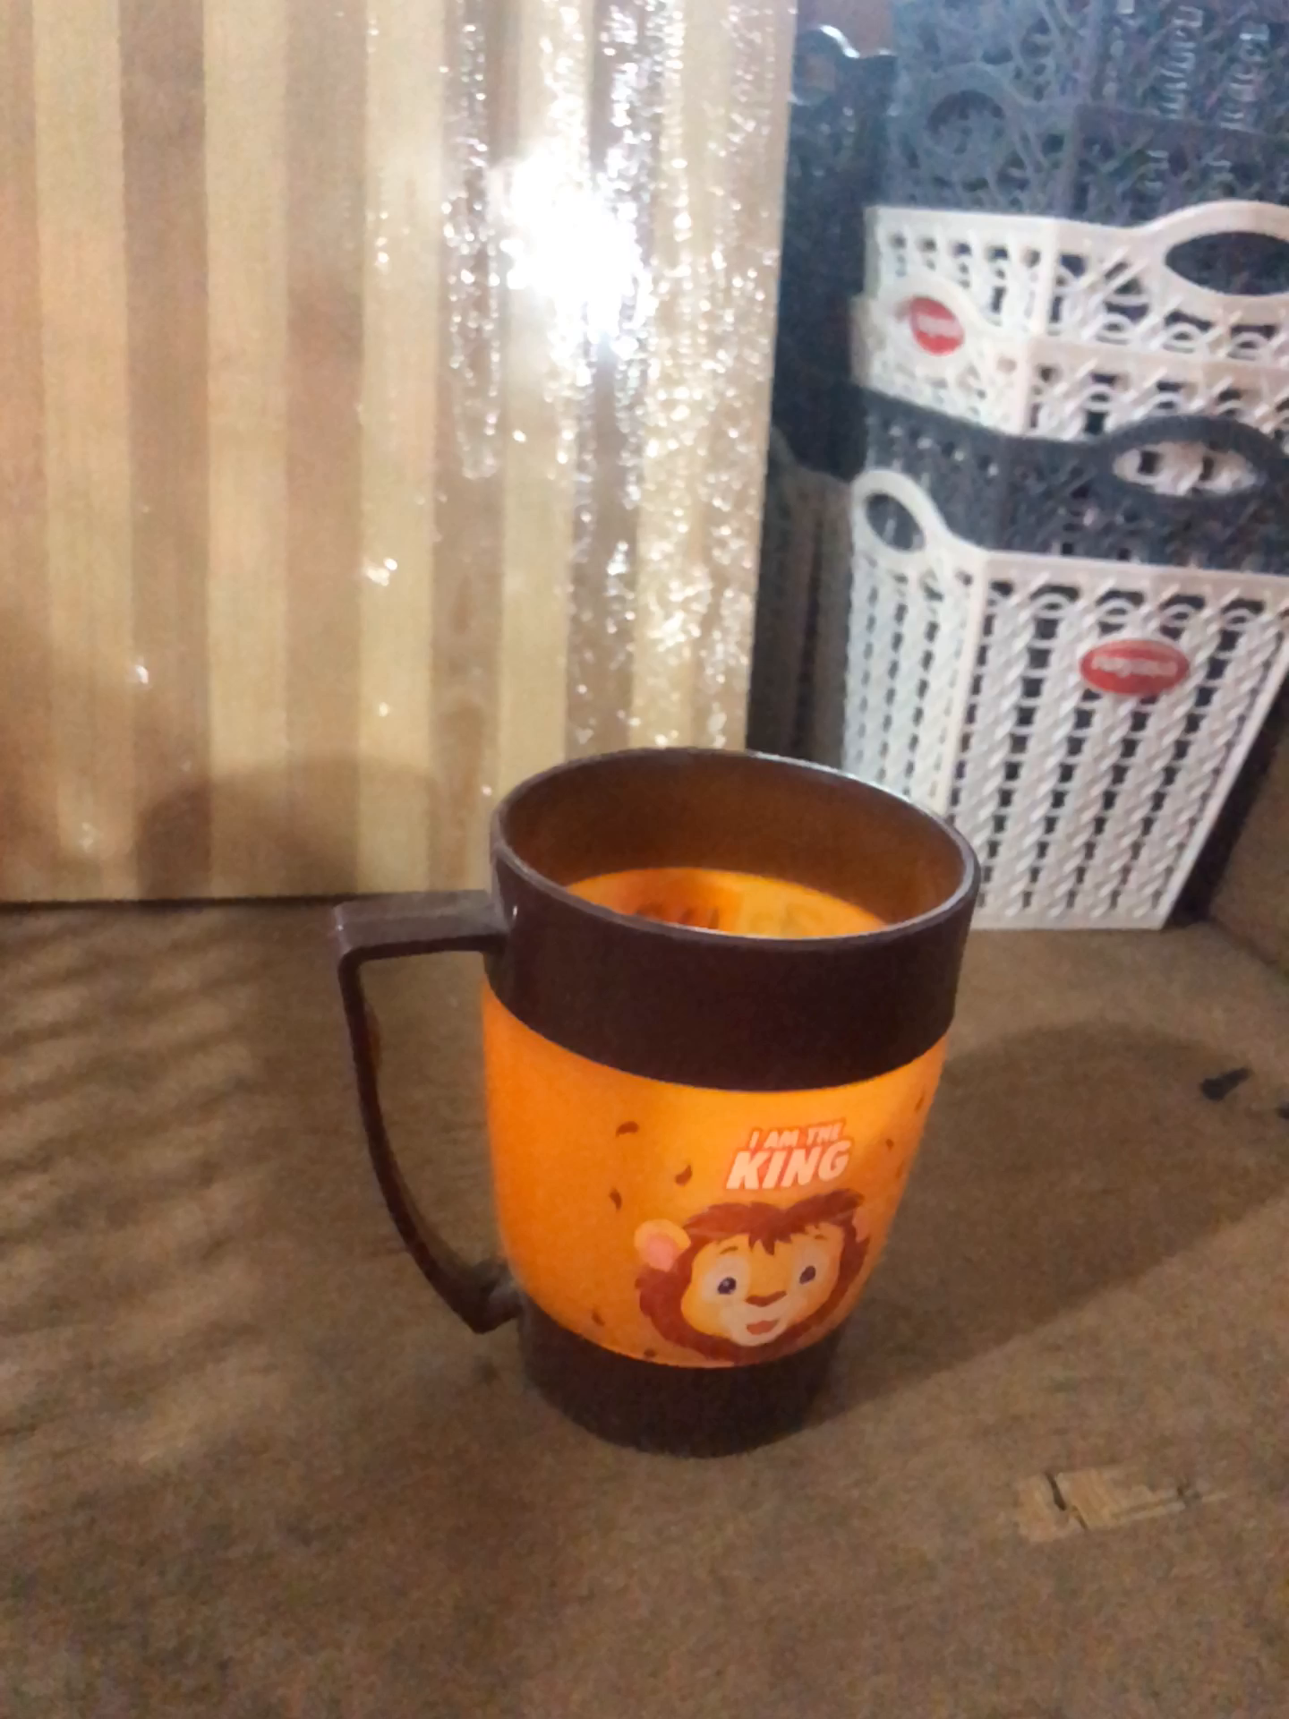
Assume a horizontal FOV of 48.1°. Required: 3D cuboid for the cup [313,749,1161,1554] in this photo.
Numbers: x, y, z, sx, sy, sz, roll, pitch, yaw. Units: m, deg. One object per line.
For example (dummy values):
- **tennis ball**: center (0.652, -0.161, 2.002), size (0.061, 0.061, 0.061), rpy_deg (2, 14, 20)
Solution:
- **cup**: center (0.004, 0.037, 0.211), size (0.100, 0.090, 0.060), rpy_deg (-1, 26, -14)
